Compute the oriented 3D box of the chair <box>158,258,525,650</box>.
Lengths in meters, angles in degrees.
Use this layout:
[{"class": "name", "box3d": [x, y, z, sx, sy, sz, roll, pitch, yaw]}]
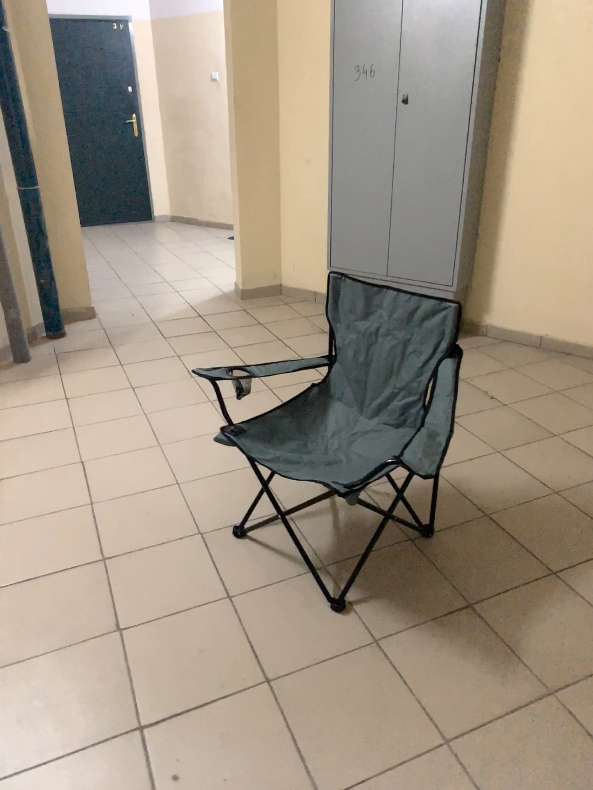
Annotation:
[{"class": "chair", "box3d": [0.105, 0.085, 1.764, 0.802, 0.756, 0.561, 21, 33, 38]}]
